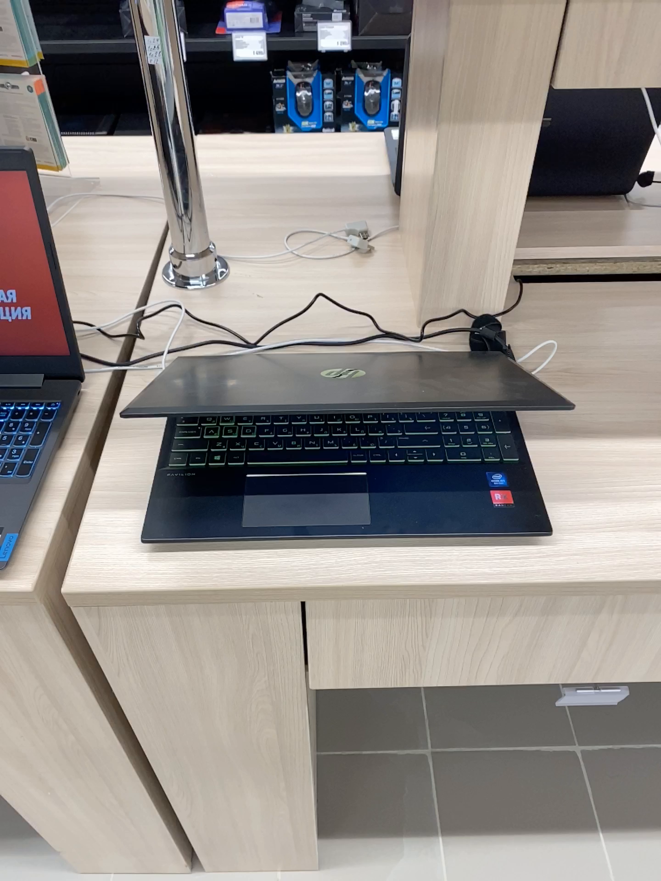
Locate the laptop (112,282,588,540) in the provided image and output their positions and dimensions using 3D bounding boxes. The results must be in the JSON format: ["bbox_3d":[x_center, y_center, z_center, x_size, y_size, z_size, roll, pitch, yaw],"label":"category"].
[{"bbox_3d":[0.012,-0.037,0.636,0.364,0.108,0.236,-1,44,0],"label":"laptop"}]
